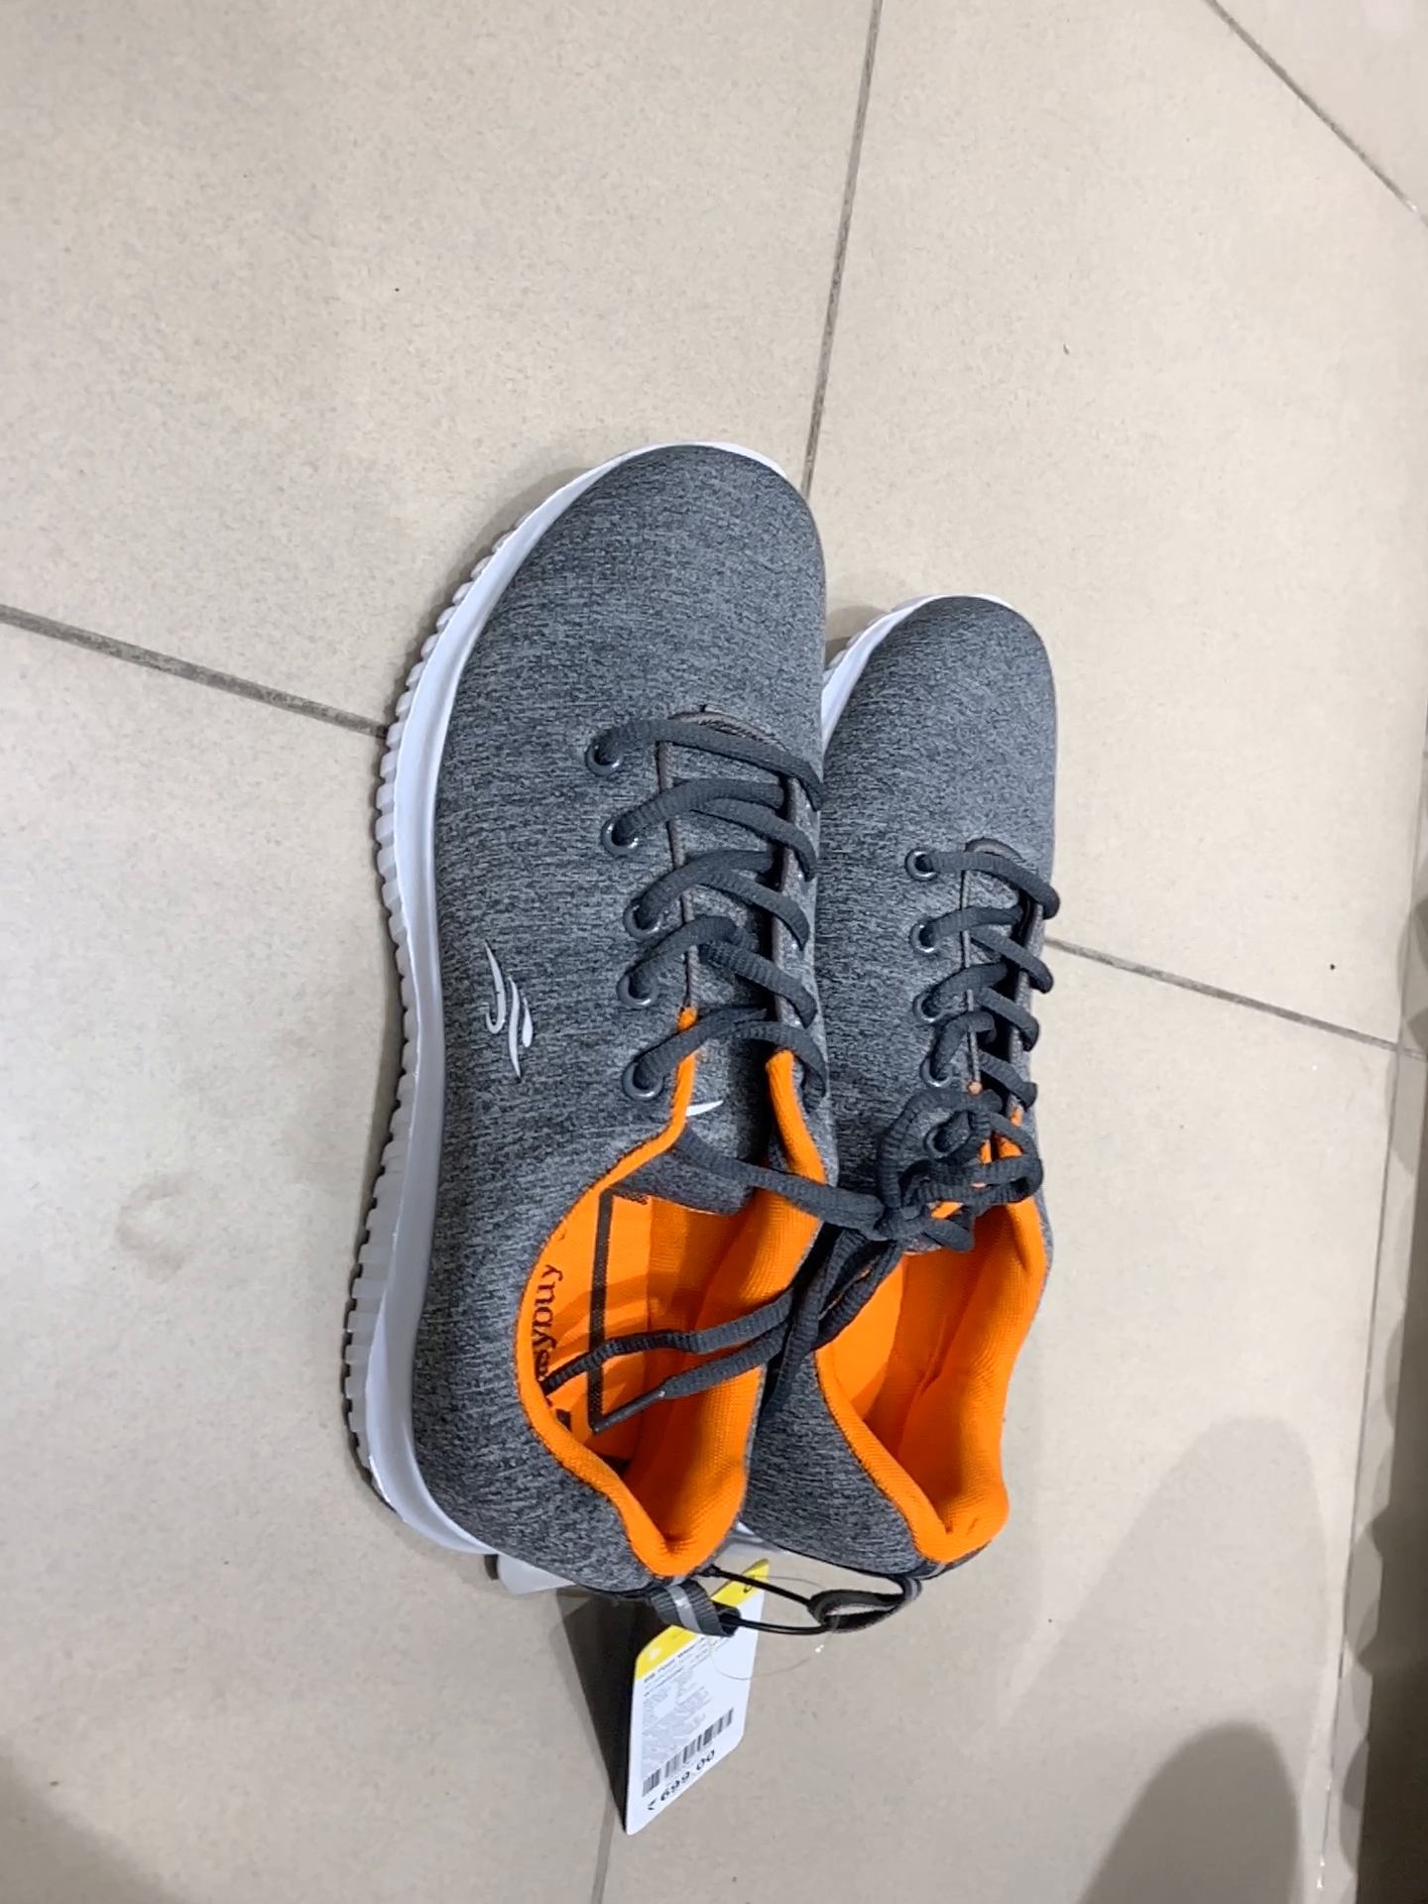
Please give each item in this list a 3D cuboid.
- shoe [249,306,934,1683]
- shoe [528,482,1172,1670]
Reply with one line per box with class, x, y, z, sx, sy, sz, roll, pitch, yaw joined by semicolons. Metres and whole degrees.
shoe;-0.028;0.010;0.361;0.101;0.090;0.280;11;83;-37
shoe;0.044;0.034;0.428;0.101;0.090;0.300;18;79;-36
